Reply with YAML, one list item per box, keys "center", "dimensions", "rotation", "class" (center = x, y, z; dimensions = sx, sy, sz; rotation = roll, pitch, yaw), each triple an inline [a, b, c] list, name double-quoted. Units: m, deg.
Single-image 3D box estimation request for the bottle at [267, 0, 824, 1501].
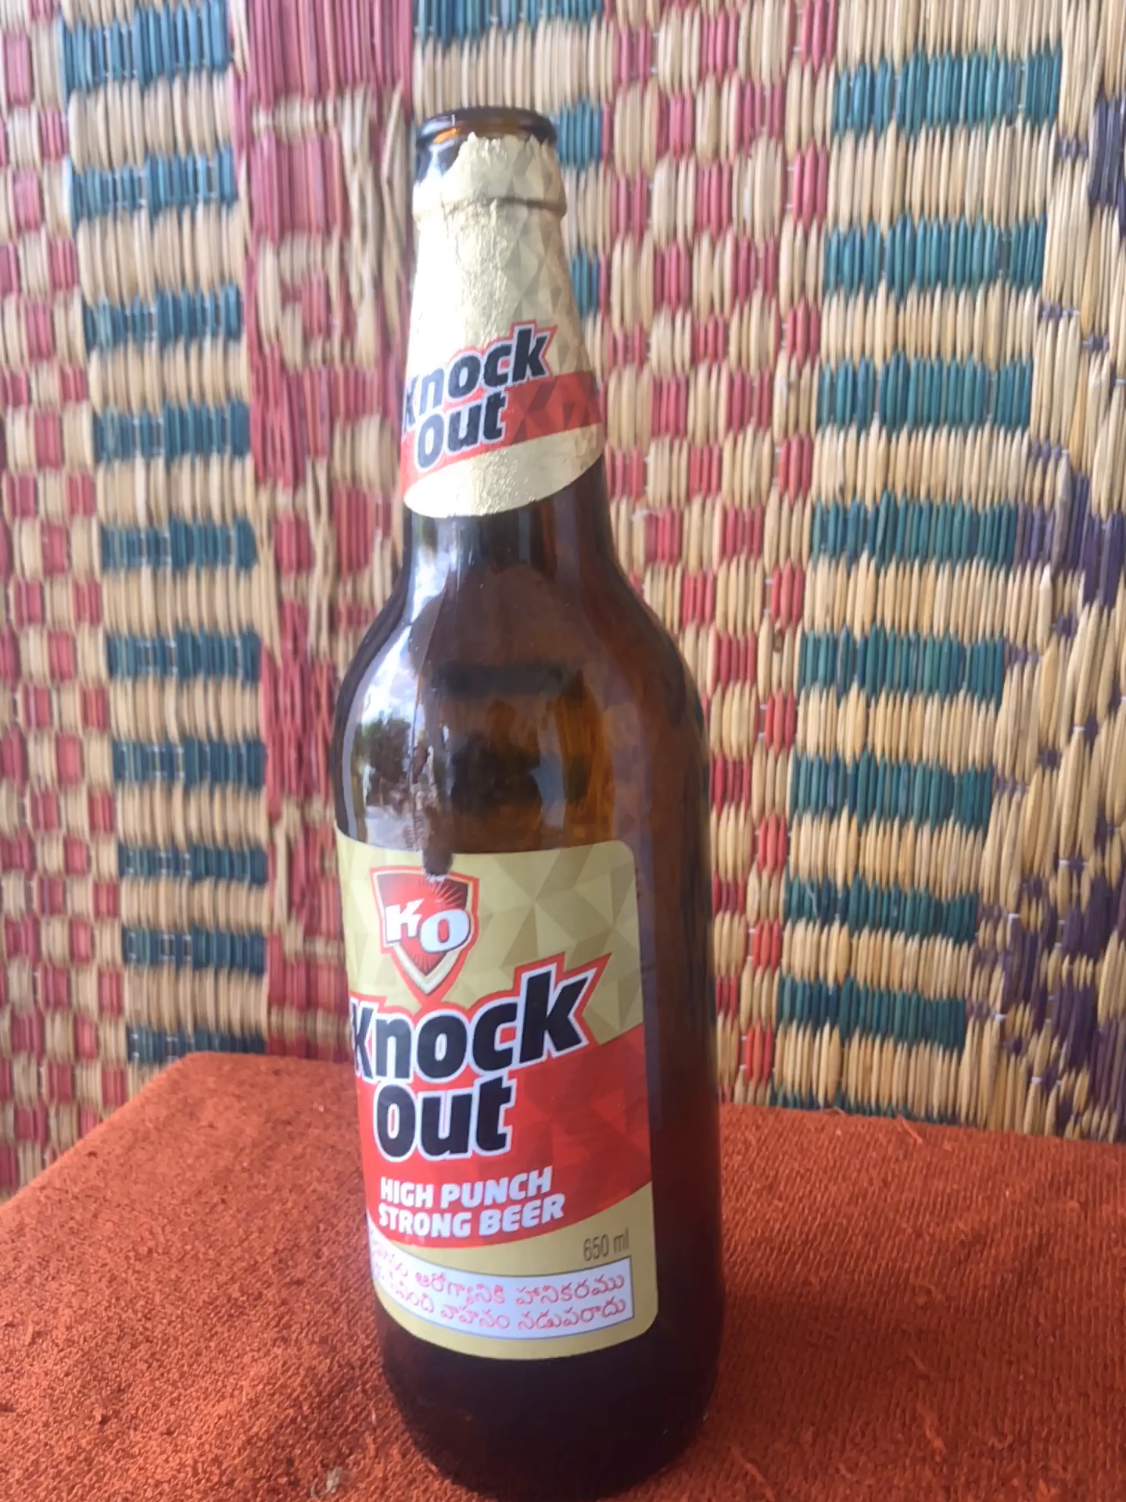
- center: [0.007, 0.013, 0.234]
  dimensions: [0.070, 0.249, 0.070]
  rotation: [-2, 14, 1]
  class: "bottle"
